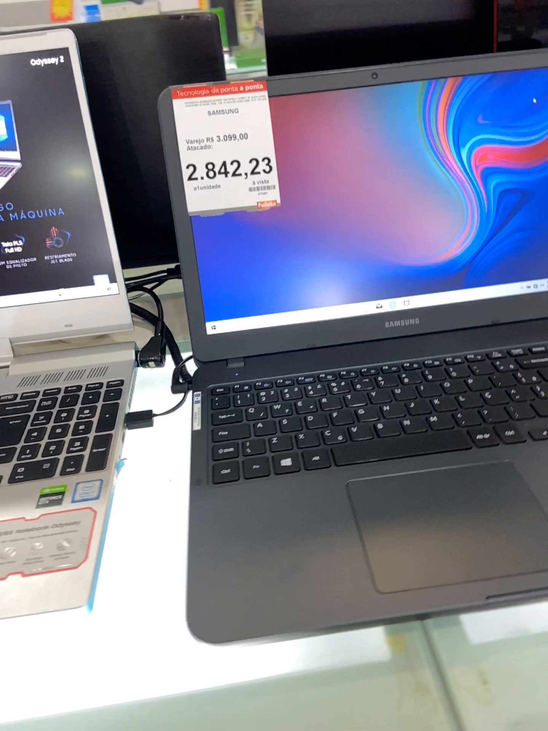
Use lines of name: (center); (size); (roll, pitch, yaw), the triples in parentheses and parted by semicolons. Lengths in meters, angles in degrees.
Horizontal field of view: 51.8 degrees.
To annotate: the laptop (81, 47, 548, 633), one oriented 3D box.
laptop: (0.111, -0.072, 0.390); (0.366, 0.193, 0.371); (-7, 35, -2)
